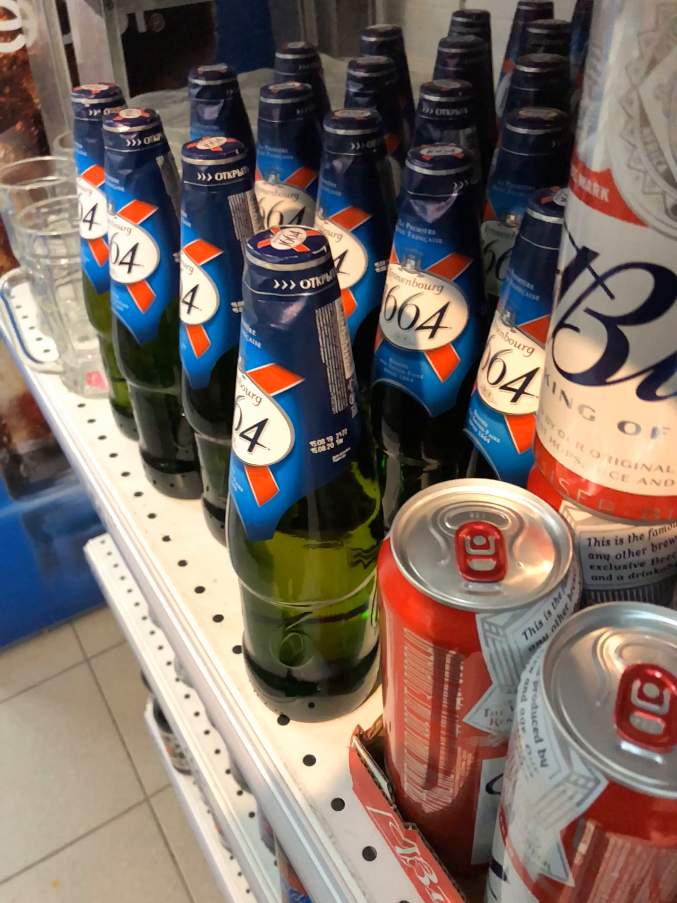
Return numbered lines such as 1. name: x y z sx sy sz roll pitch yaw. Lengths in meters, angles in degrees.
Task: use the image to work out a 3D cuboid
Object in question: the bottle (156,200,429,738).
1. bottle: -0.013 0.019 0.318 0.080 0.219 0.081 -2 38 2
